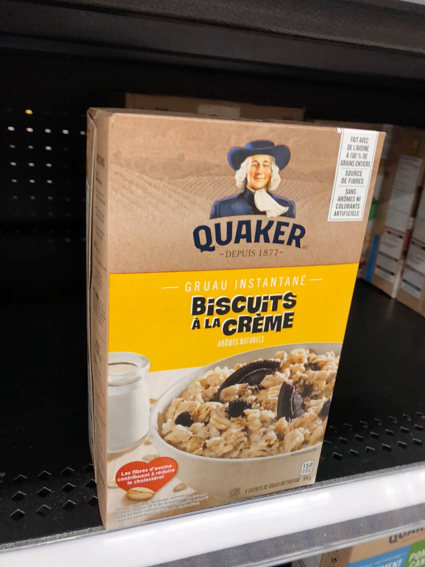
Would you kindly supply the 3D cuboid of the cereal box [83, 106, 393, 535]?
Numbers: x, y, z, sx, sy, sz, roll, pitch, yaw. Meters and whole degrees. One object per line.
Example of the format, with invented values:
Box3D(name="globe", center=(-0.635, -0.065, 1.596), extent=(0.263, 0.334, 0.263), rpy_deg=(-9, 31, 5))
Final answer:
Box3D(name="cereal box", center=(-0.001, 0.014, 0.247), extent=(0.120, 0.189, 0.080), rpy_deg=(-3, 22, -19))
